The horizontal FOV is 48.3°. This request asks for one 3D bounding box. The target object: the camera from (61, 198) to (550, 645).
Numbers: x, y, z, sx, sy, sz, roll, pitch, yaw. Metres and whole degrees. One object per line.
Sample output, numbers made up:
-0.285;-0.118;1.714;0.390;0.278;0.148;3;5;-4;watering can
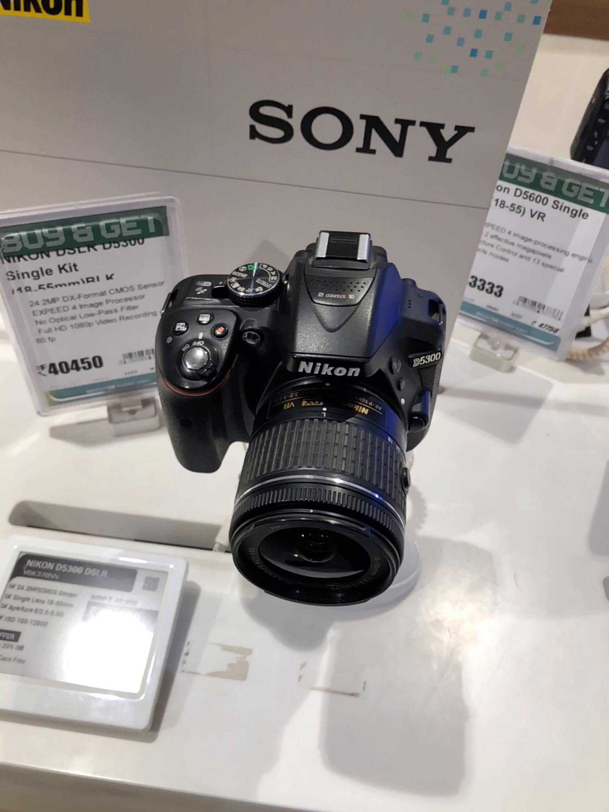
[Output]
0.002;0.001;0.278;0.140;0.099;0.141;6;45;1;camera
